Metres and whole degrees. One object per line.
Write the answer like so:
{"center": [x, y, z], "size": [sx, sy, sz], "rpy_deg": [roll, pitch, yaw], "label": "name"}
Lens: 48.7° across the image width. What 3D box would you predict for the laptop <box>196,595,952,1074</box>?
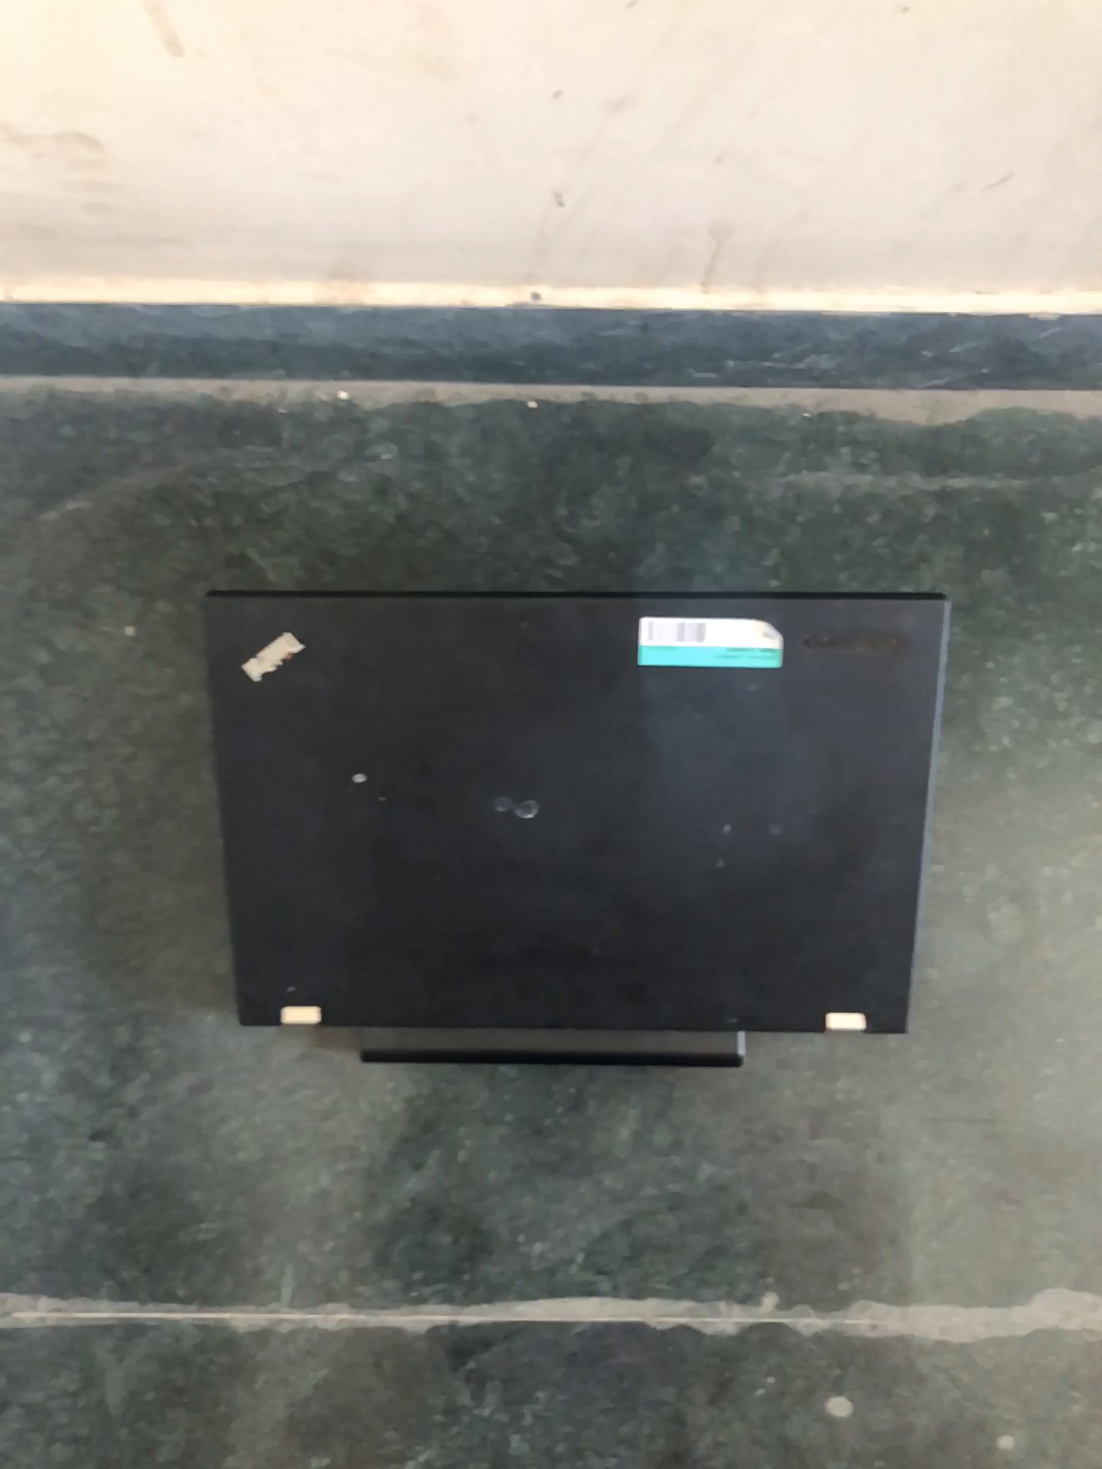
{"center": [0.014, 0.051, 0.630], "size": [0.349, 0.095, 0.227], "rpy_deg": [0, 79, 0], "label": "laptop"}
